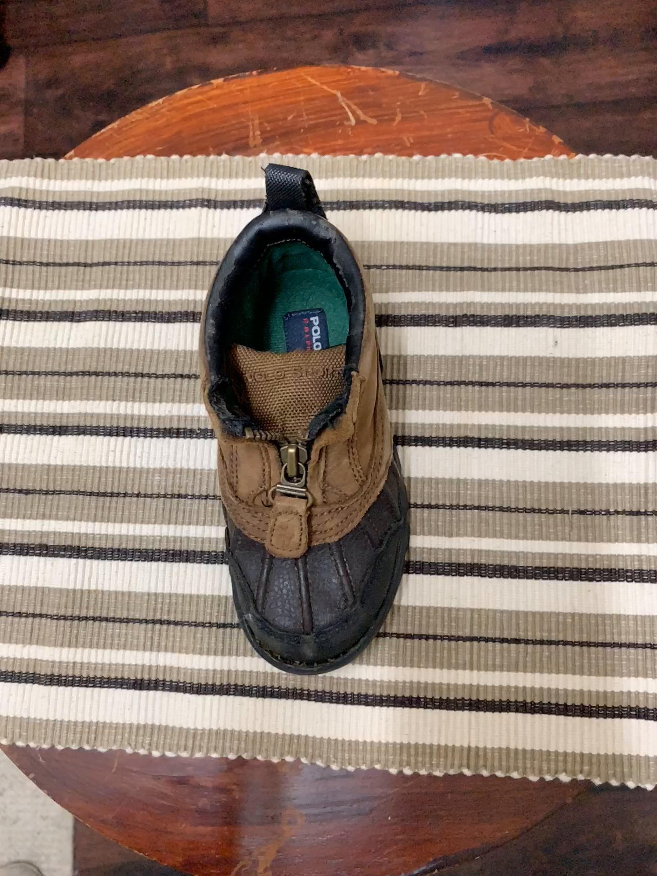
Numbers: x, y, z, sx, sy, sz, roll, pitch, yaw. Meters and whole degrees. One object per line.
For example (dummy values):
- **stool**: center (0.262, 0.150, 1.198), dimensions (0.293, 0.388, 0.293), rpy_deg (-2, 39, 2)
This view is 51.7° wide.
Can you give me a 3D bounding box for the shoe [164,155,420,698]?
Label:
- **shoe**: center (-0.009, -0.002, 0.269), dimensions (0.080, 0.090, 0.180), rpy_deg (-1, 81, 5)
